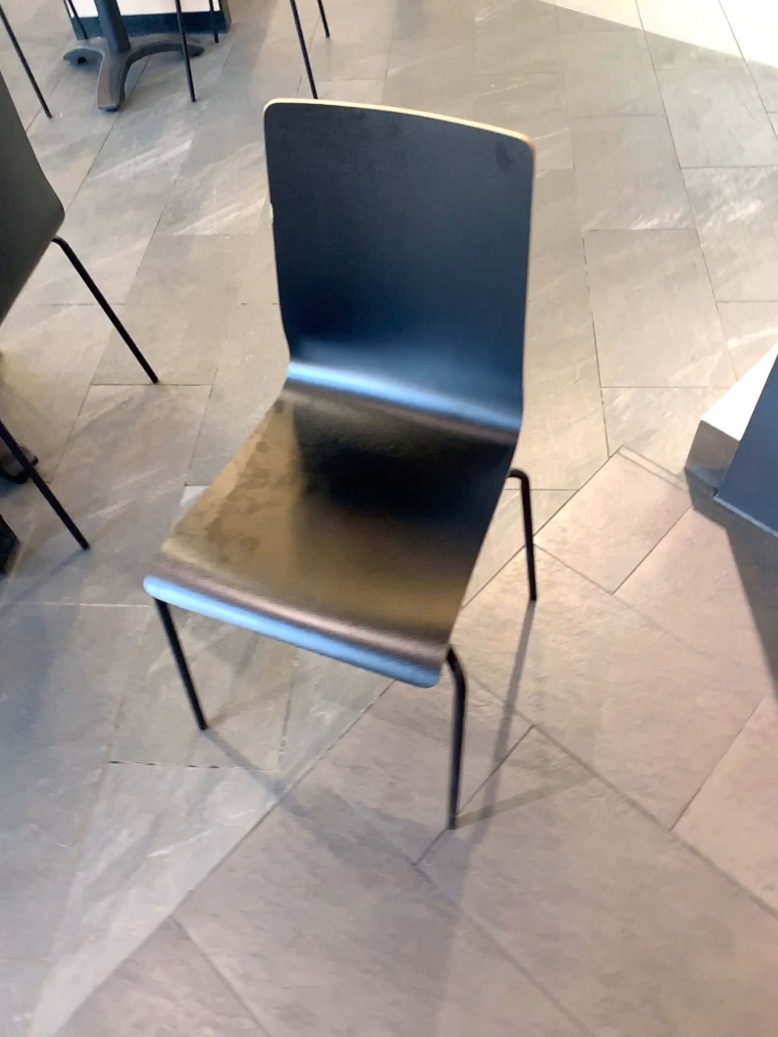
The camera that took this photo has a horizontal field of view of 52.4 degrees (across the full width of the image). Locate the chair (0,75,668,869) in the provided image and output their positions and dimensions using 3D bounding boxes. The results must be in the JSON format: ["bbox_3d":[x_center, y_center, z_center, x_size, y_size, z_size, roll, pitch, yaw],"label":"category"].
[{"bbox_3d":[-0.040,-0.001,1.049,0.521,0.837,0.521,17,56,16],"label":"chair"}]
